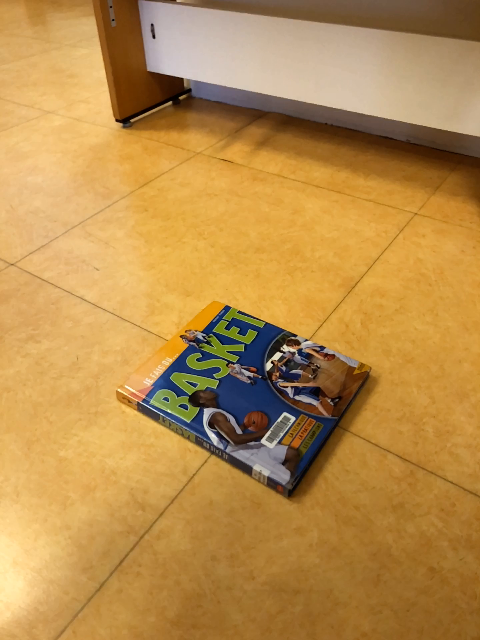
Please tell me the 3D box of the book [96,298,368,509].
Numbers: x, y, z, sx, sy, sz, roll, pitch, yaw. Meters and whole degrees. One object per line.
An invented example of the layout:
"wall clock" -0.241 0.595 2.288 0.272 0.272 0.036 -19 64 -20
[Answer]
"book" -0.007 0.079 0.645 0.257 0.020 0.211 23 47 26
